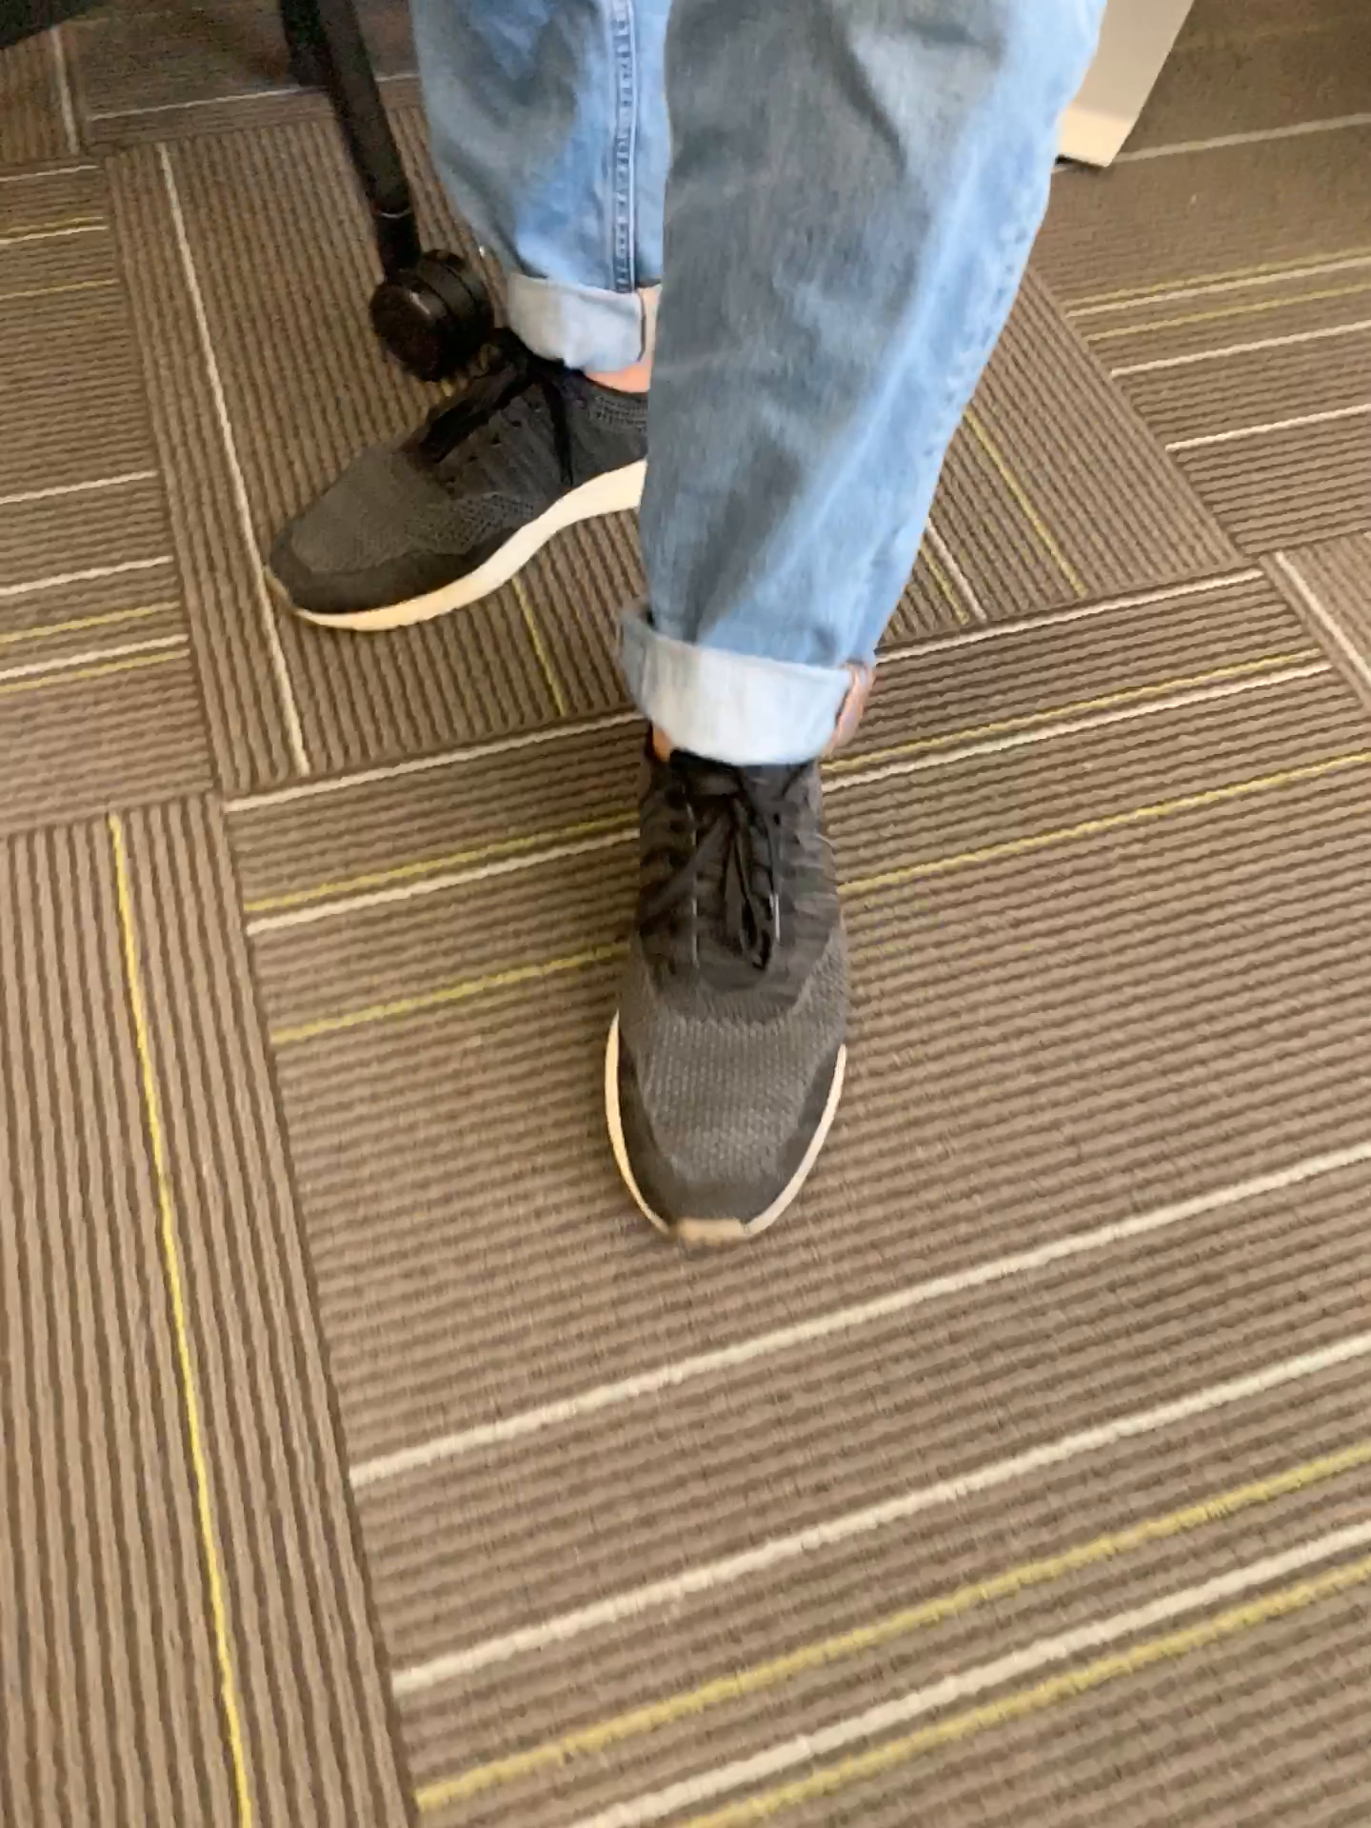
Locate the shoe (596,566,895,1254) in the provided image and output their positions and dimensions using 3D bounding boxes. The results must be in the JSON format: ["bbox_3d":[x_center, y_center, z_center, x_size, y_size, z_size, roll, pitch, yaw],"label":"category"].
[{"bbox_3d":[0.023,-0.010,0.645,0.112,0.106,0.307,2,59,-1],"label":"shoe"}]

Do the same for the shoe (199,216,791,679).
[{"bbox_3d":[-0.099,-0.271,0.794,0.306,0.106,0.110,-32,65,-19],"label":"shoe"}]
